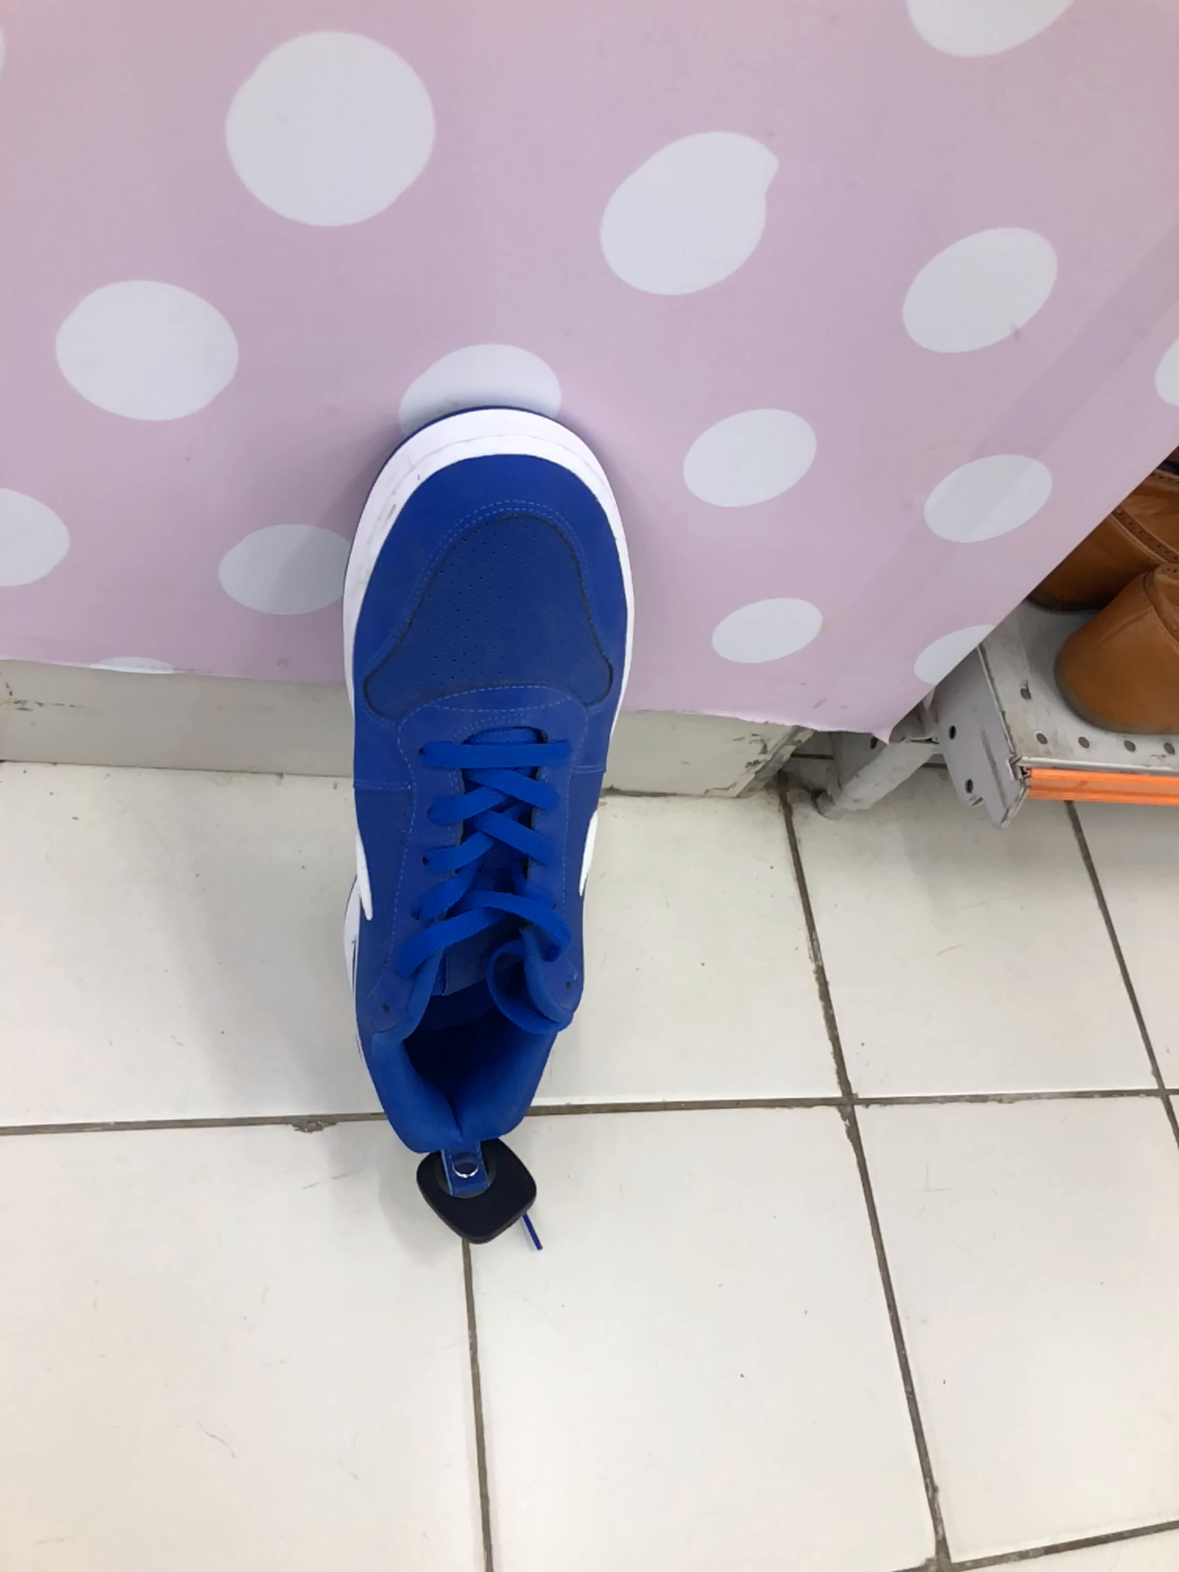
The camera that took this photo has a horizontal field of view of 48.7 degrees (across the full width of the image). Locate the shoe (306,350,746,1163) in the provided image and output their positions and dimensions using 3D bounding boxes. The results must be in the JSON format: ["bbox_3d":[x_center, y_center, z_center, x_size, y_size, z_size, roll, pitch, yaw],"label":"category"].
[{"bbox_3d":[-0.039,0.003,0.476,0.110,0.289,0.080,-1,34,-18],"label":"shoe"}]
